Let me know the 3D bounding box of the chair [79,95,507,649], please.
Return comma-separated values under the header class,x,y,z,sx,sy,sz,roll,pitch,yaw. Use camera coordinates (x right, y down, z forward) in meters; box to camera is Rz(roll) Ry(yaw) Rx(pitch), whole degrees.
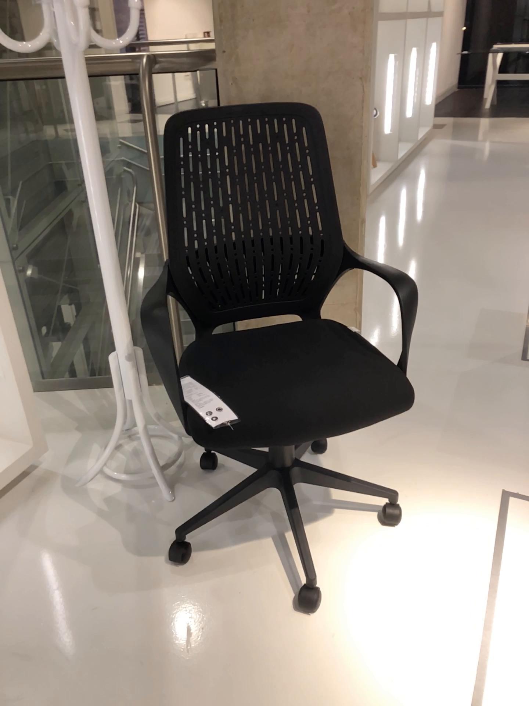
class,x,y,z,sx,sy,sz,roll,pitch,yaw
chair,0.011,-0.008,1.387,0.640,1.022,0.705,-8,29,-9
